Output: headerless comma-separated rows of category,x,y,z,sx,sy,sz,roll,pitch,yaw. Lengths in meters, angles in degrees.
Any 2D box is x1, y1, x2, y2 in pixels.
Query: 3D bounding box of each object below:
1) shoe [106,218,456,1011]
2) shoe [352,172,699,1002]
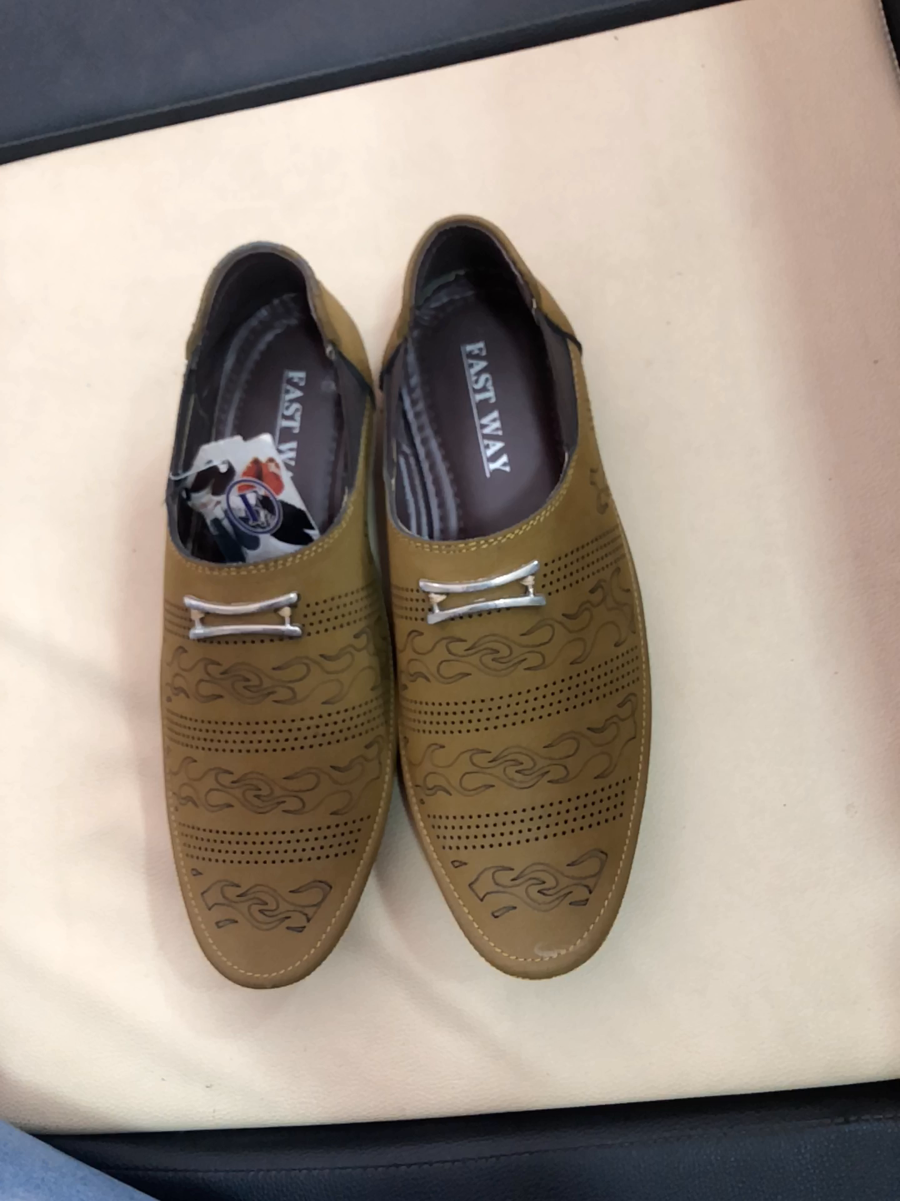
shoe,-0.066,0.007,0.410,0.100,0.100,0.280,-6,81,12
shoe,0.032,-0.002,0.394,0.100,0.100,0.280,-6,81,12
